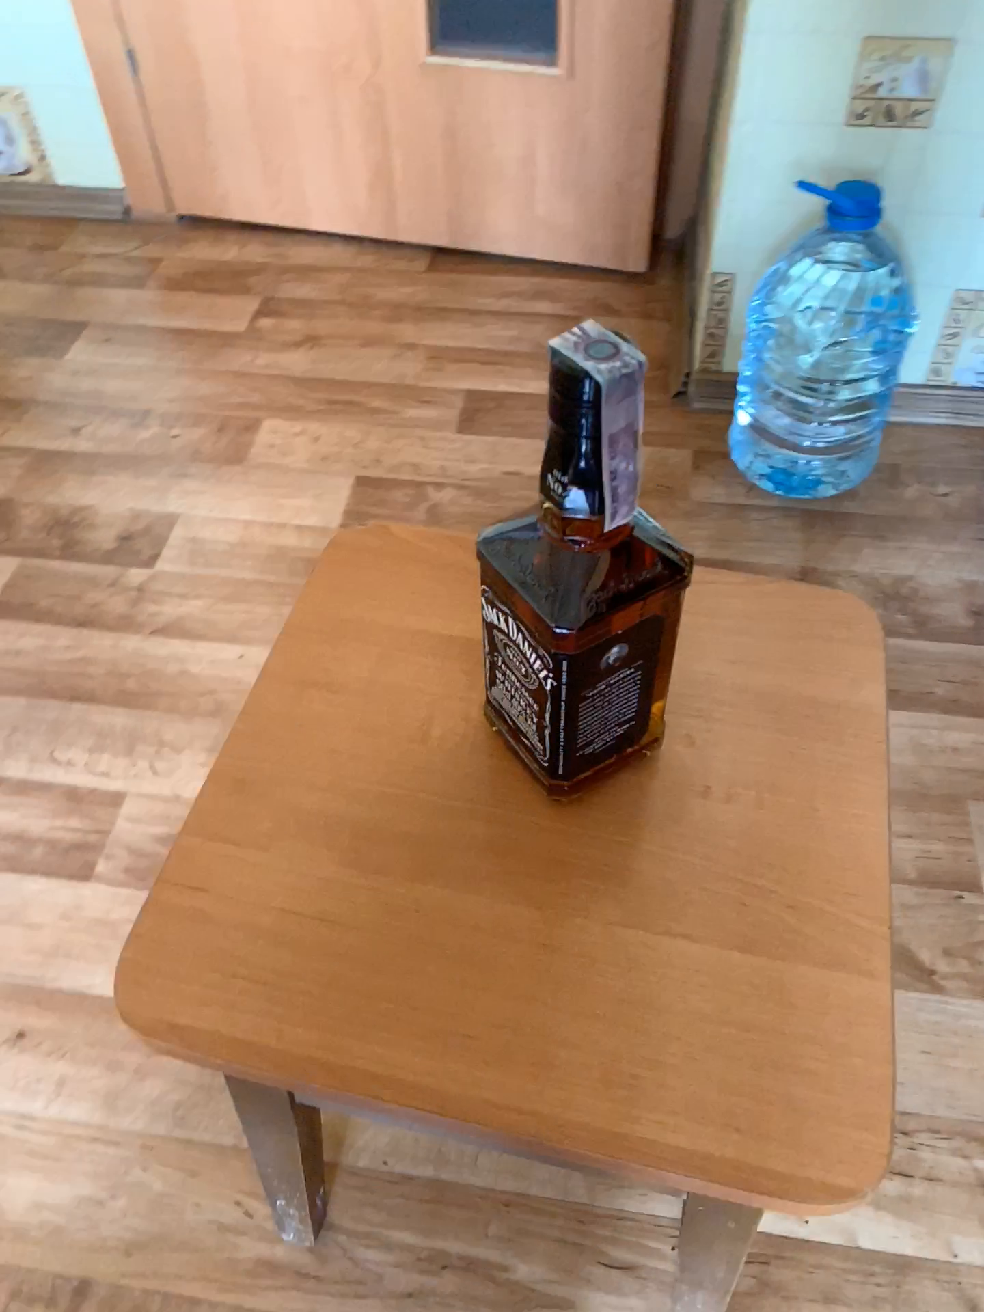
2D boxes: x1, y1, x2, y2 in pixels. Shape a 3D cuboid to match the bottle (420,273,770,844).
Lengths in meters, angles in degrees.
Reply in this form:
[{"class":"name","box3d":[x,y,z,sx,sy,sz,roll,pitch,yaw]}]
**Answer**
[{"class":"bottle","box3d":[0.033,-0.026,0.402,0.080,0.209,0.080,-1,50,1]}]
